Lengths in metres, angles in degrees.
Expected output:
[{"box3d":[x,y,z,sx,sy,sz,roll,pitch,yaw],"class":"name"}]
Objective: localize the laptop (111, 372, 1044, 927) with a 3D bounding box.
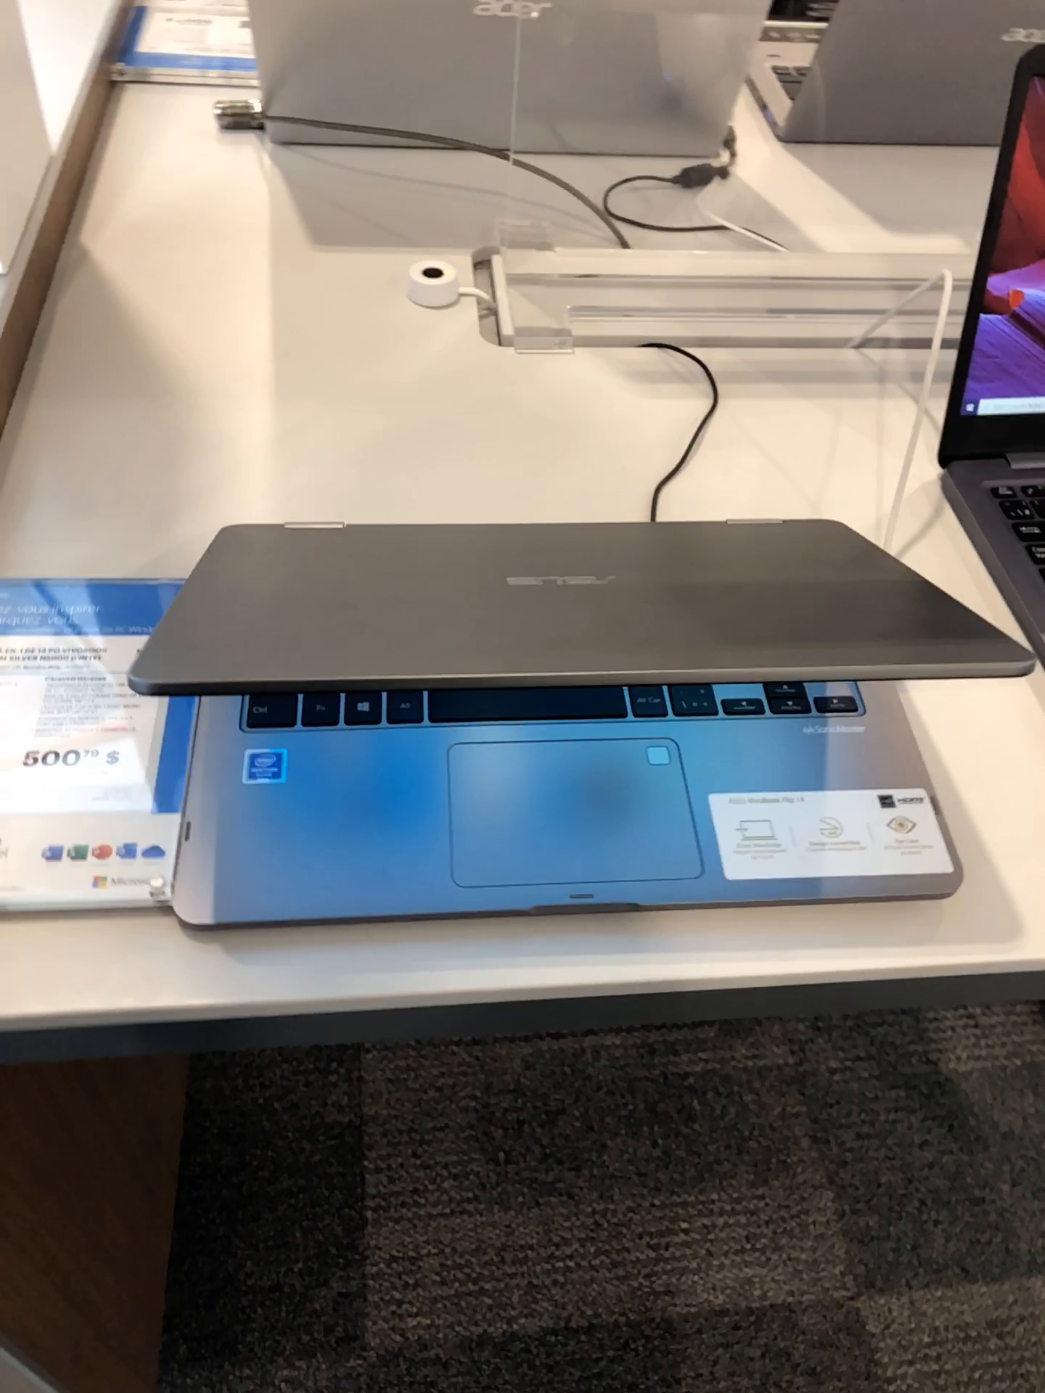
[{"box3d":[0.017,-0.030,0.489,0.321,0.105,0.215,-1,50,-5],"class":"laptop"}]
